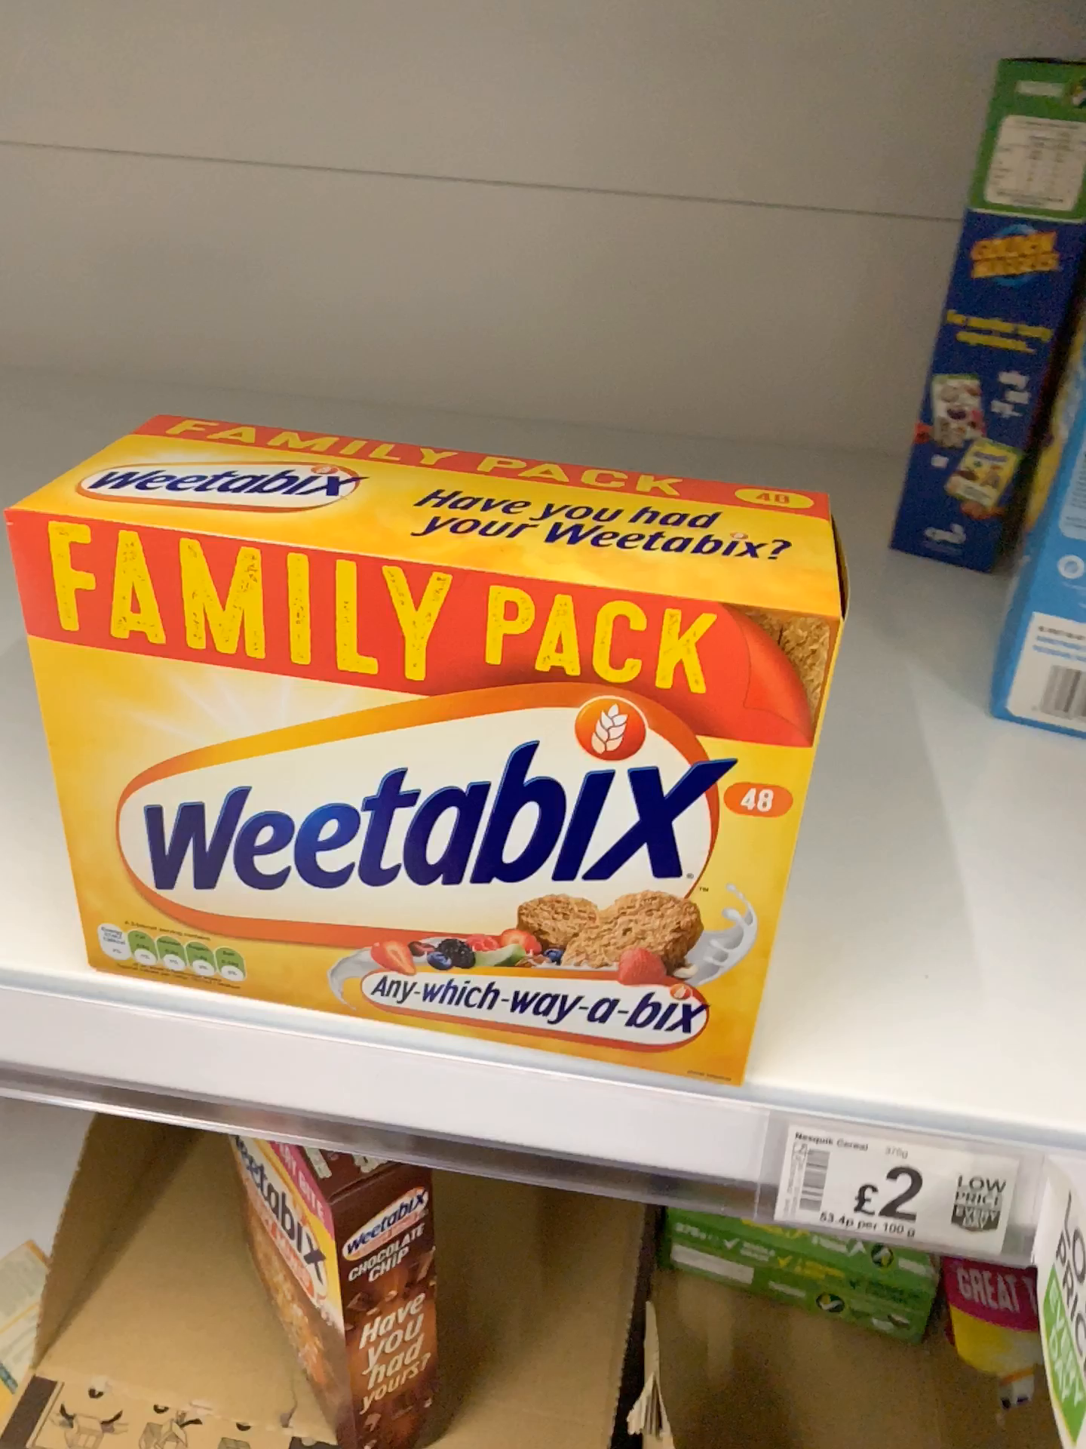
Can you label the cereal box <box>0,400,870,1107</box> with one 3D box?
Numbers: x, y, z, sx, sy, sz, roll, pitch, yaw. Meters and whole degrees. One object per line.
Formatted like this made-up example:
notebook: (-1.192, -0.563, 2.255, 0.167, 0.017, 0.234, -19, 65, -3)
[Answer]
cereal box: (-0.041, 0.009, 0.389, 0.260, 0.188, 0.091, 9, 32, 7)
